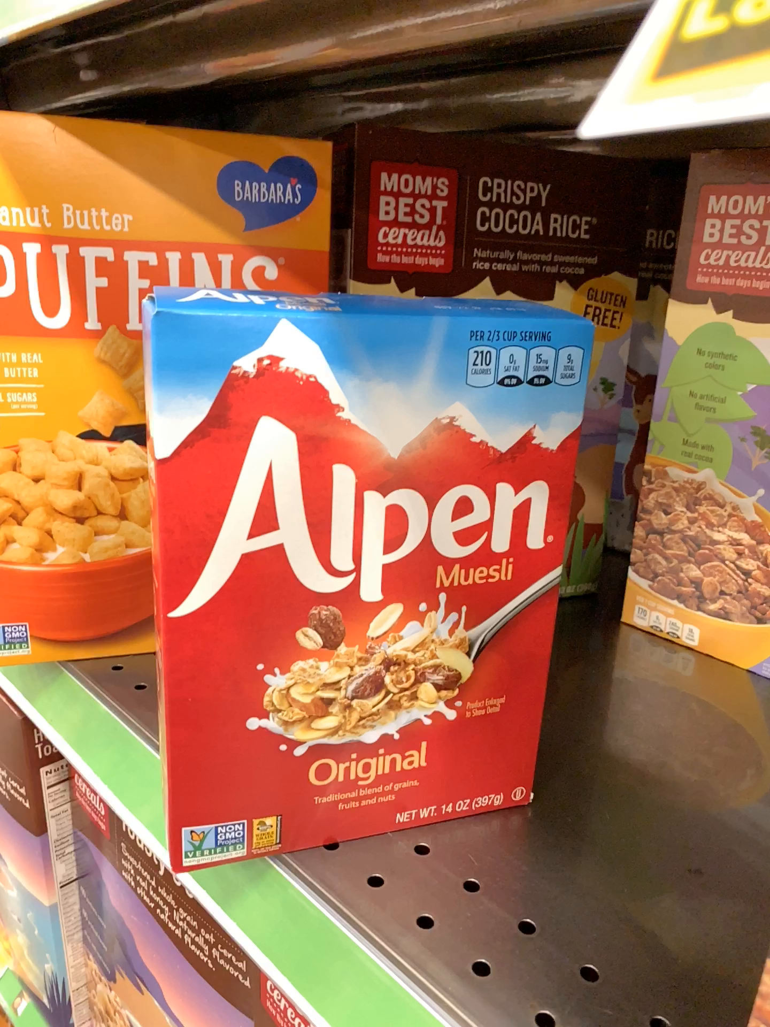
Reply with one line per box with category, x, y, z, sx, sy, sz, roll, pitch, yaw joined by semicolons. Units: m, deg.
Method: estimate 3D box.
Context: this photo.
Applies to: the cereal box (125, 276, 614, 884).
cereal box;-0.008;0.024;0.300;0.160;0.209;0.040;-3;19;-19
